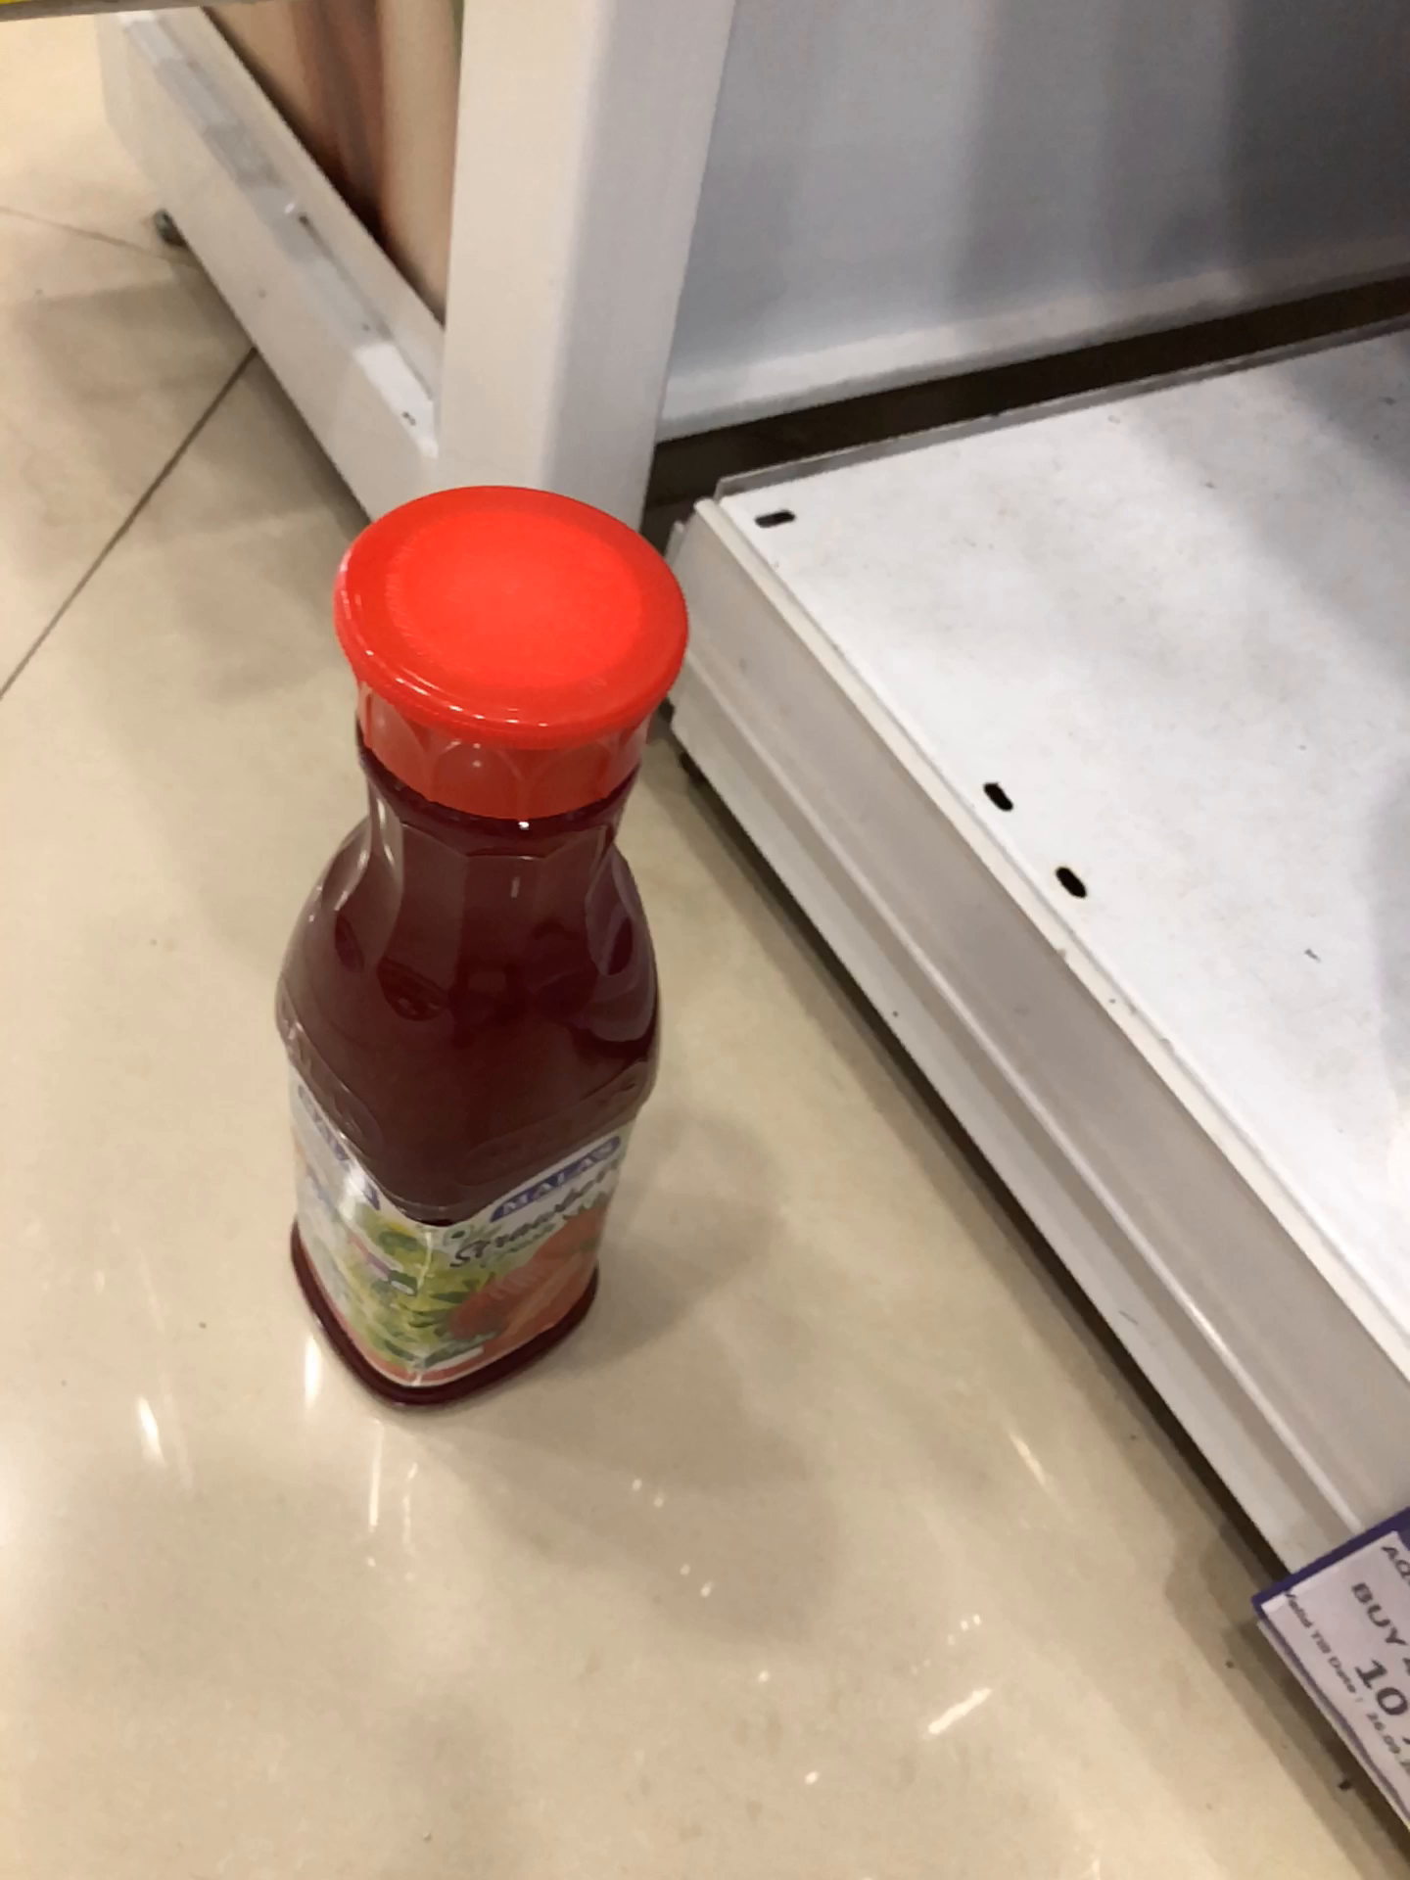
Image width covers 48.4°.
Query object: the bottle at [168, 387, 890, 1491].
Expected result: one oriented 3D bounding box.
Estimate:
[{"bbox_3d":[-0.047,0.022,0.326,0.080,0.248,0.070,-27,63,-29],"label":"bottle"}]
